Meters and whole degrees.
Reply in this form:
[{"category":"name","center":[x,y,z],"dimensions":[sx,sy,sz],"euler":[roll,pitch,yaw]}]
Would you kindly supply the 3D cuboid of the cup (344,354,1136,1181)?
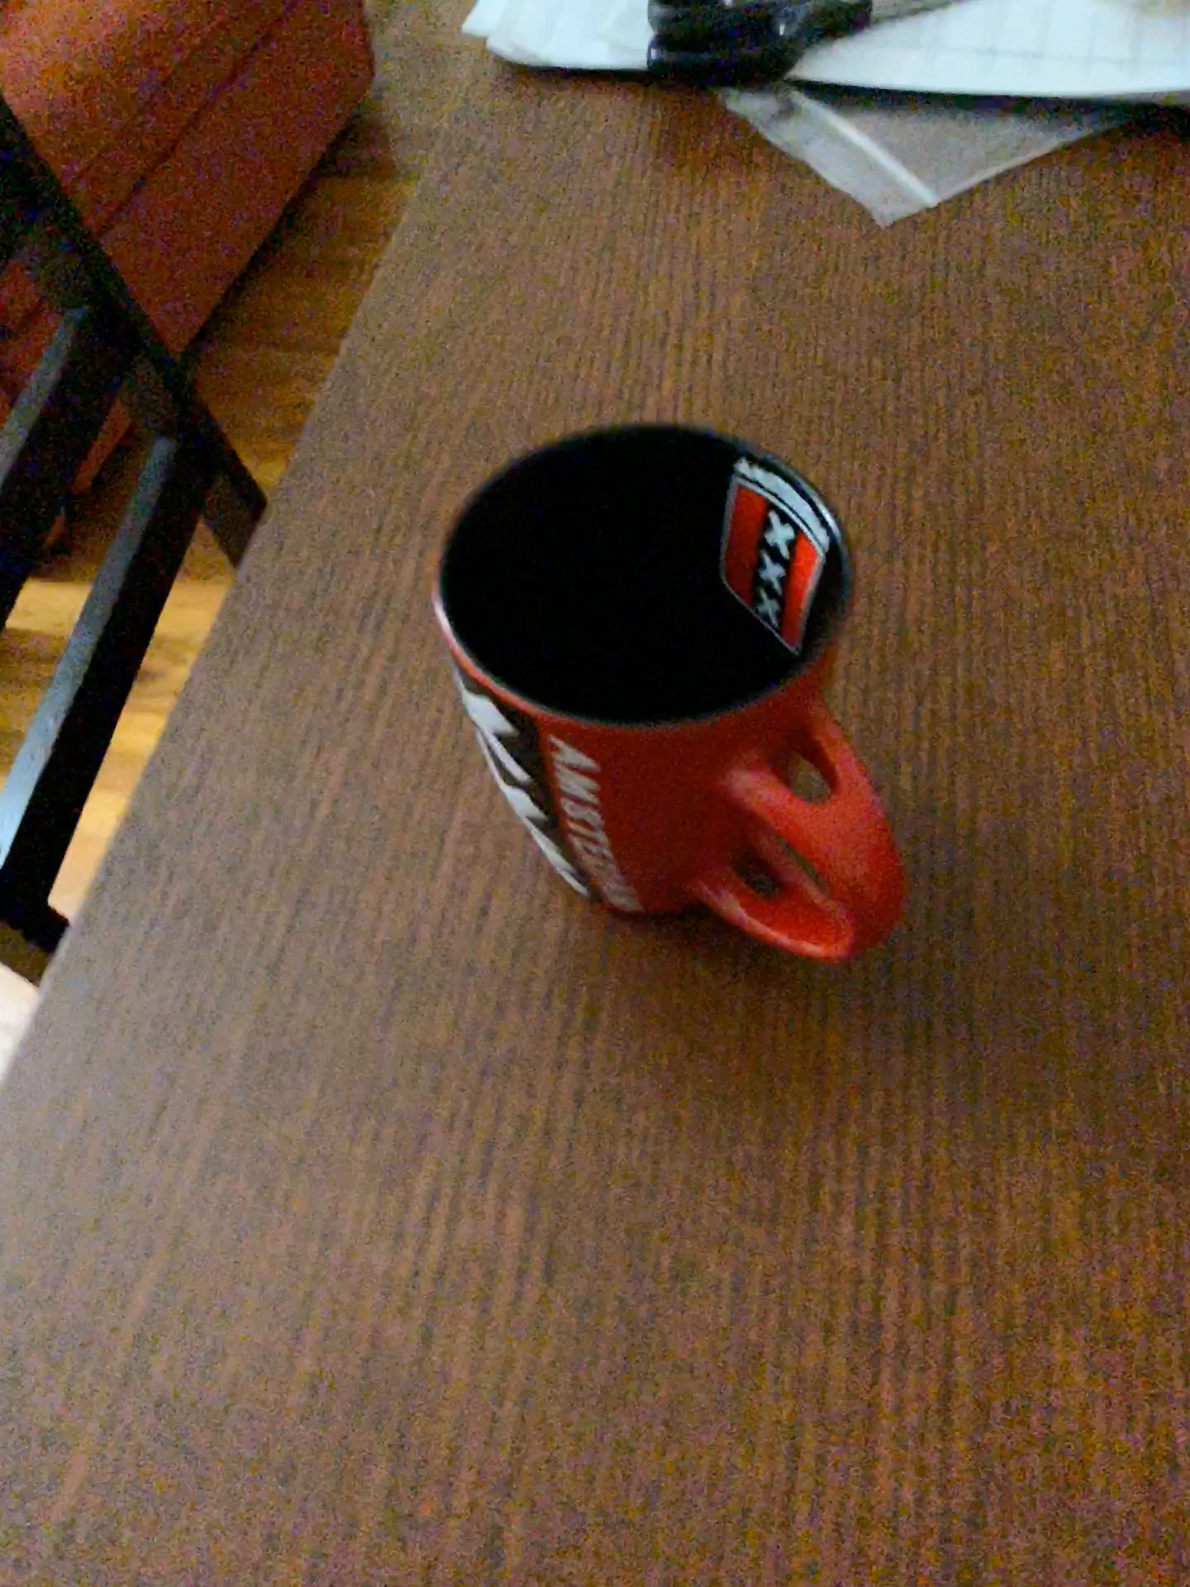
[{"category":"cup","center":[0.024,-0.007,0.276],"dimensions":[0.090,0.100,0.130],"euler":[-31,60,-16]}]
